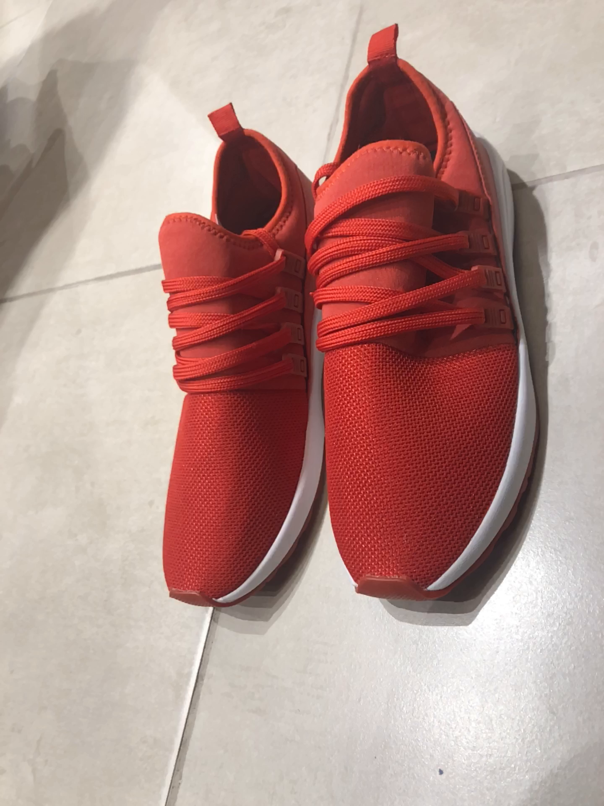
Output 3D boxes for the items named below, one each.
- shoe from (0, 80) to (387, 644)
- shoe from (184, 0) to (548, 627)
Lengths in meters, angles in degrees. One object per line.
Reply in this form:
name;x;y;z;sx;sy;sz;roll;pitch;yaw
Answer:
shoe;-0.046;-0.020;0.388;0.100;0.139;0.270;-4;62;33
shoe;0.052;-0.044;0.337;0.100;0.139;0.271;-8;60;31
